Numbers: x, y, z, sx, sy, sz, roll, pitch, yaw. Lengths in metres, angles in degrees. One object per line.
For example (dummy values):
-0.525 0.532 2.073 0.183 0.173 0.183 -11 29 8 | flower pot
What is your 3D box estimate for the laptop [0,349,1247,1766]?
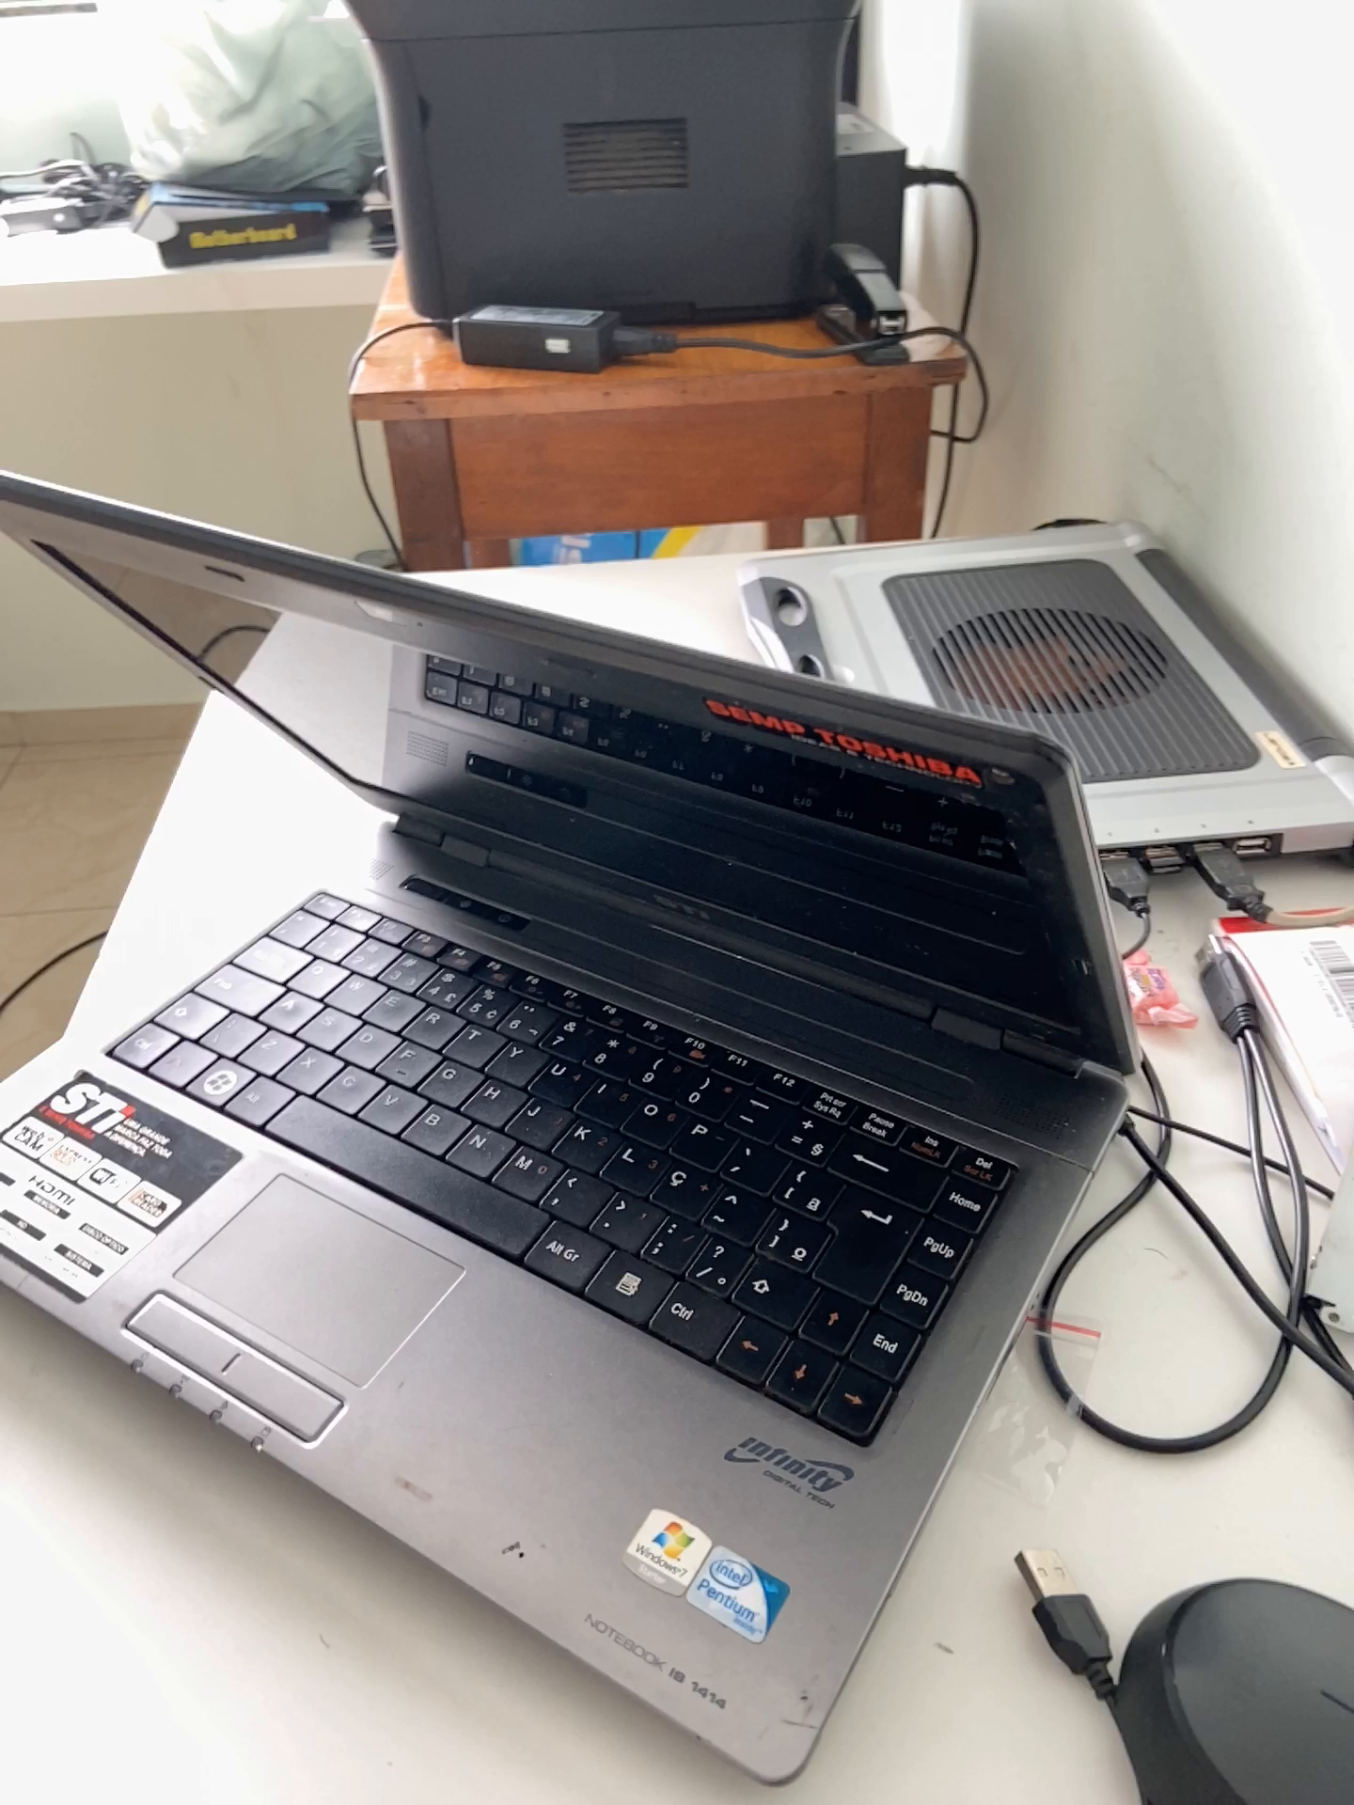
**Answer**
-0.059 -0.004 0.408 0.342 0.200 0.242 19 42 27 | laptop
